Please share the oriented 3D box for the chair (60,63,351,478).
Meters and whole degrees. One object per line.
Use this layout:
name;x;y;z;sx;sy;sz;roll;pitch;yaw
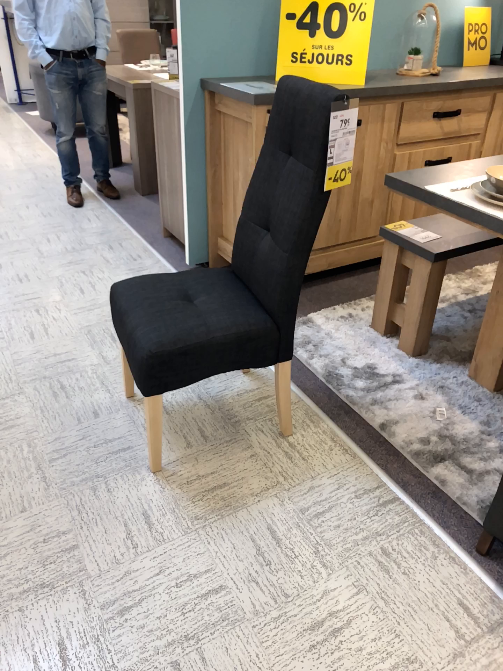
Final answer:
chair;-0.142;-0.200;1.647;0.602;1.044;0.482;-12;34;-20
